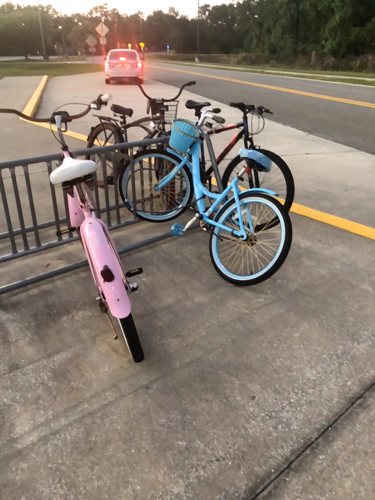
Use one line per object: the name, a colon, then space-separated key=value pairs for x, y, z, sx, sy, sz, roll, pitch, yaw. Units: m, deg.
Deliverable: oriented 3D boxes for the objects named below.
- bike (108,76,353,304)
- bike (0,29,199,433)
bike: x=0.210 y=-0.503 z=2.780 sx=1.421 sy=0.954 sz=0.585 roll=29 pitch=38 yaw=36
bike: x=-0.565 y=-0.335 z=2.093 sx=0.772 sy=1.146 sz=1.615 roll=-9 pitch=34 yaw=-16
